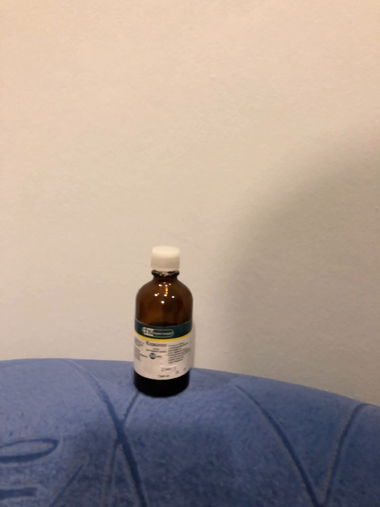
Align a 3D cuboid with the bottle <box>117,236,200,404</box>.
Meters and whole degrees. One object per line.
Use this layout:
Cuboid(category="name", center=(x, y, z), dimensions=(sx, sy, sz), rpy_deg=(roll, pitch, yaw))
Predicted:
Cuboid(category="bottle", center=(-0.020, 0.043, 0.281), dimensions=(0.045, 0.100, 0.040), rpy_deg=(5, 11, 6))
